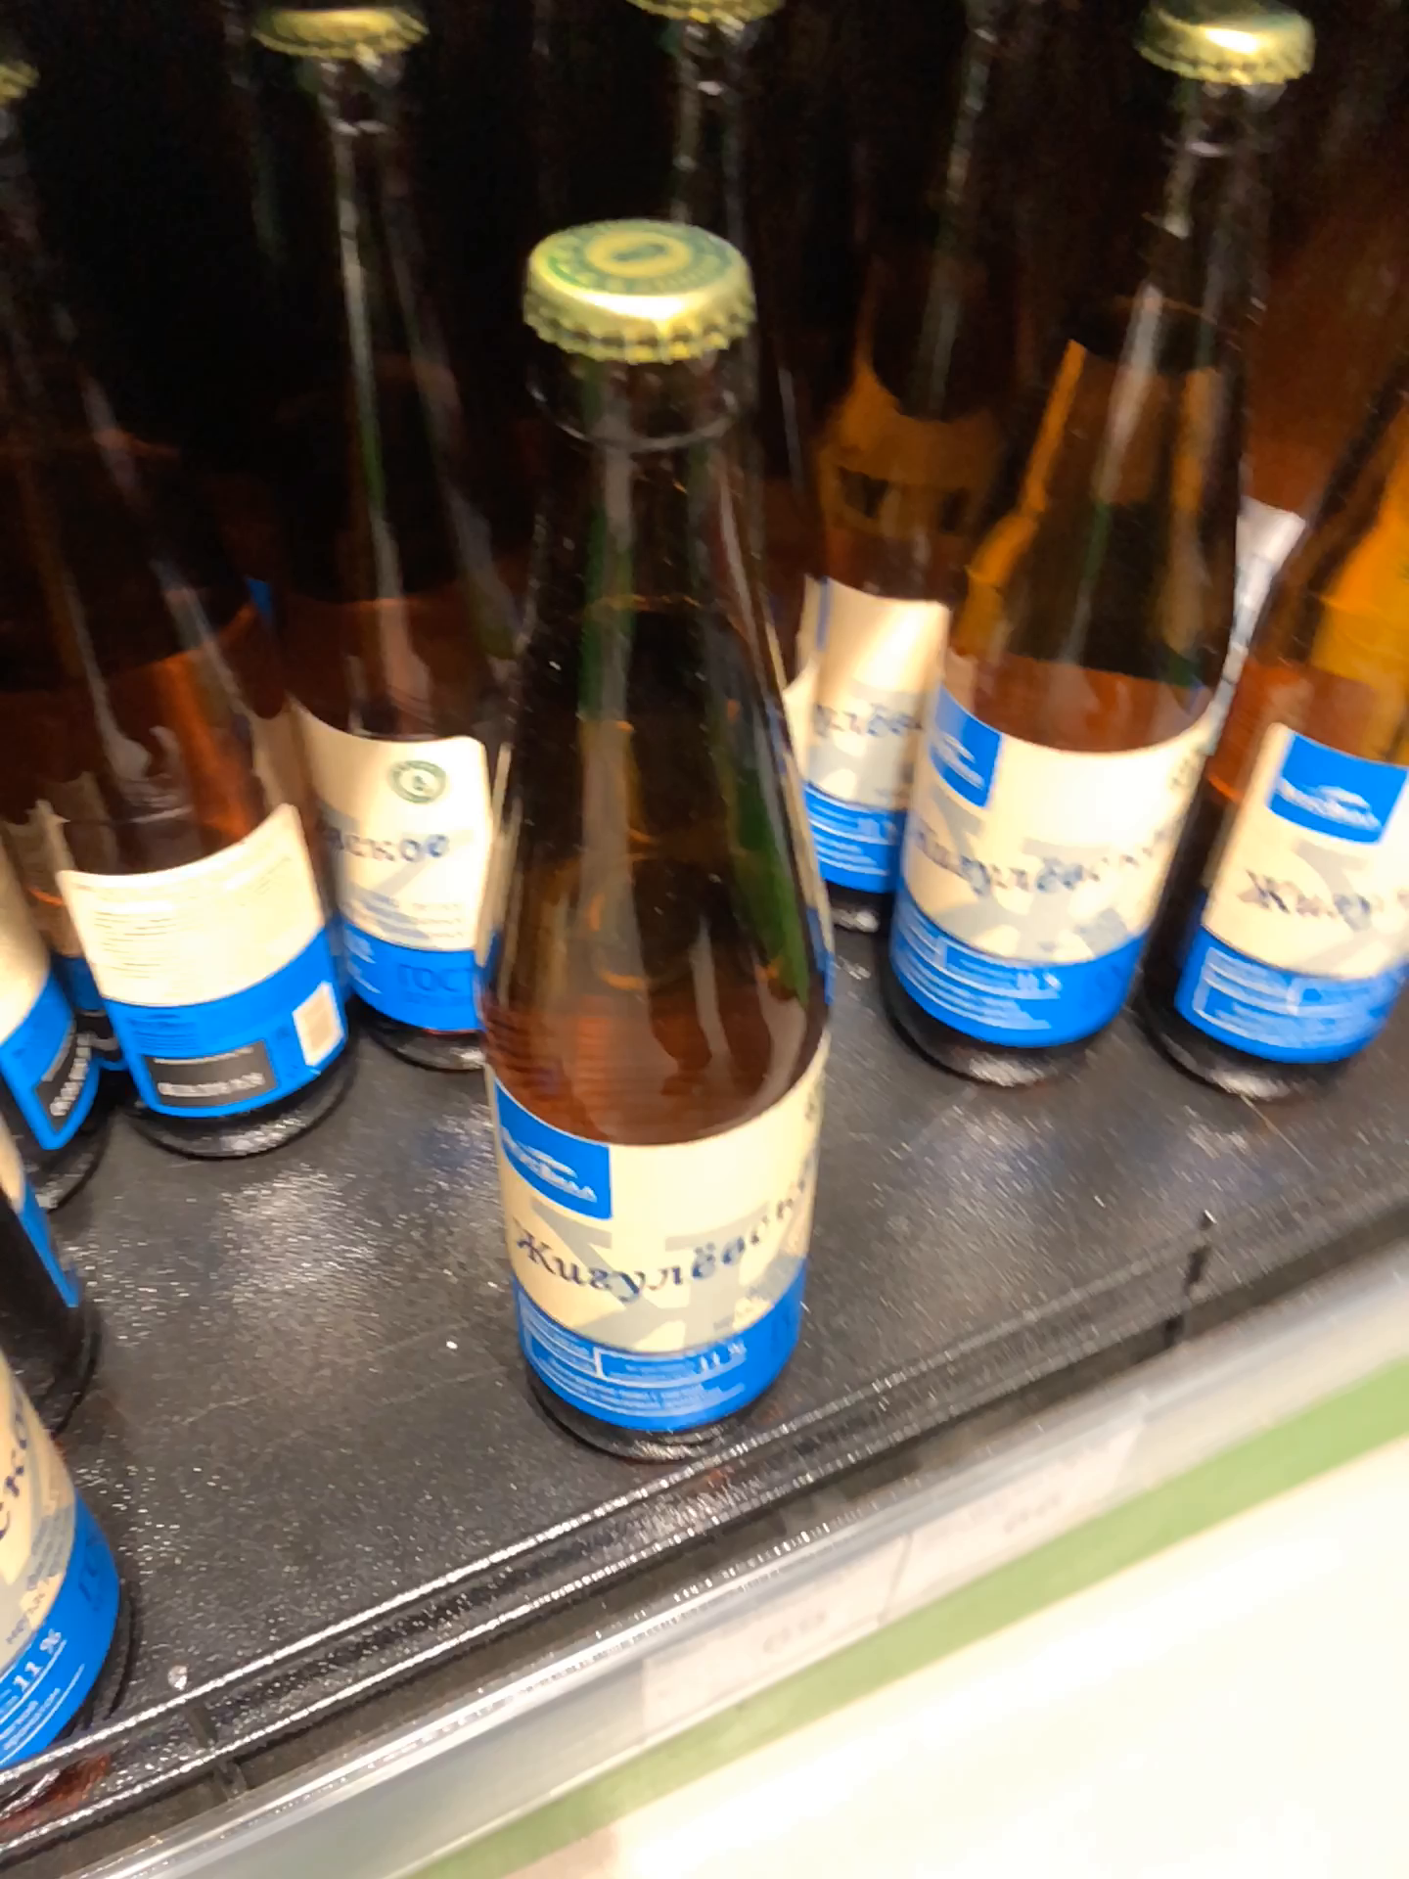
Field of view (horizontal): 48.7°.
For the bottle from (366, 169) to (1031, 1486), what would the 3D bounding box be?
[{"bbox_3d":[-0.007,0.007,0.277,0.070,0.249,0.070,1,47,-1],"label":"bottle"}]
